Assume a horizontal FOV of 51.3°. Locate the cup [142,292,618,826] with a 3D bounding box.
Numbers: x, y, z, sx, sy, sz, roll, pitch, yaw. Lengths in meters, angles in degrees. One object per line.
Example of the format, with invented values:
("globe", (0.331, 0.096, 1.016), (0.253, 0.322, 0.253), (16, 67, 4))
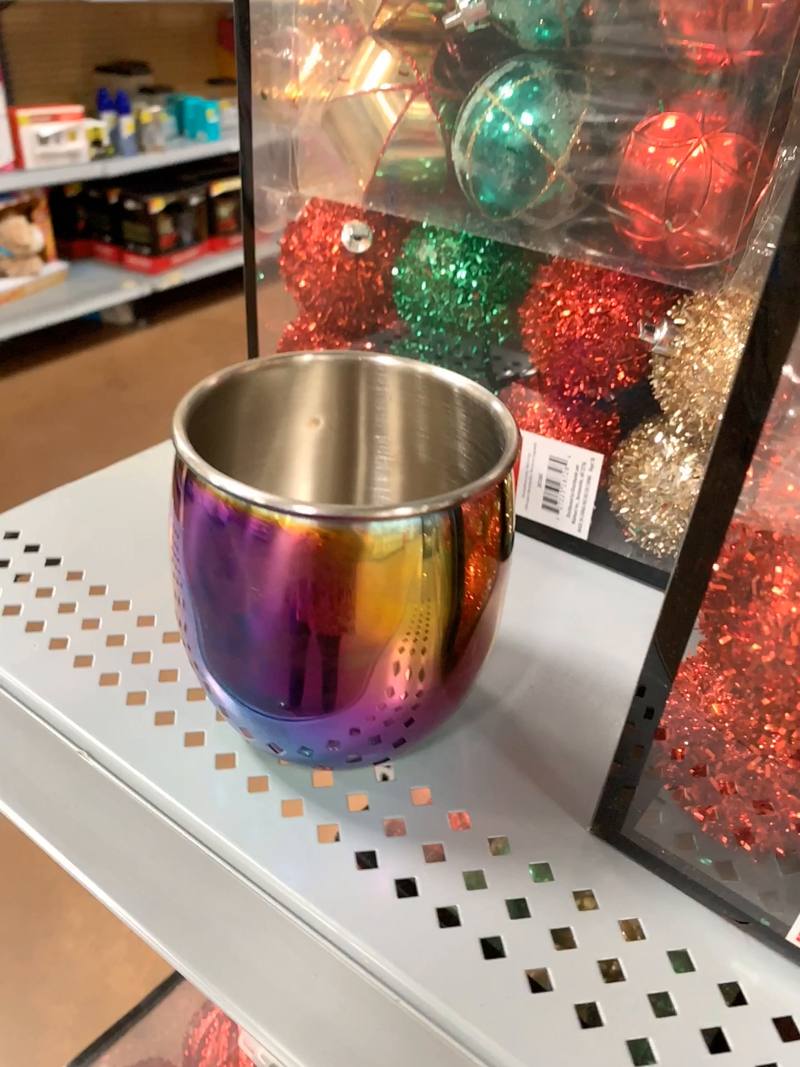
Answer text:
("cup", (-0.016, -0.003, 0.234), (0.087, 0.090, 0.111), (-9, 37, -20))
